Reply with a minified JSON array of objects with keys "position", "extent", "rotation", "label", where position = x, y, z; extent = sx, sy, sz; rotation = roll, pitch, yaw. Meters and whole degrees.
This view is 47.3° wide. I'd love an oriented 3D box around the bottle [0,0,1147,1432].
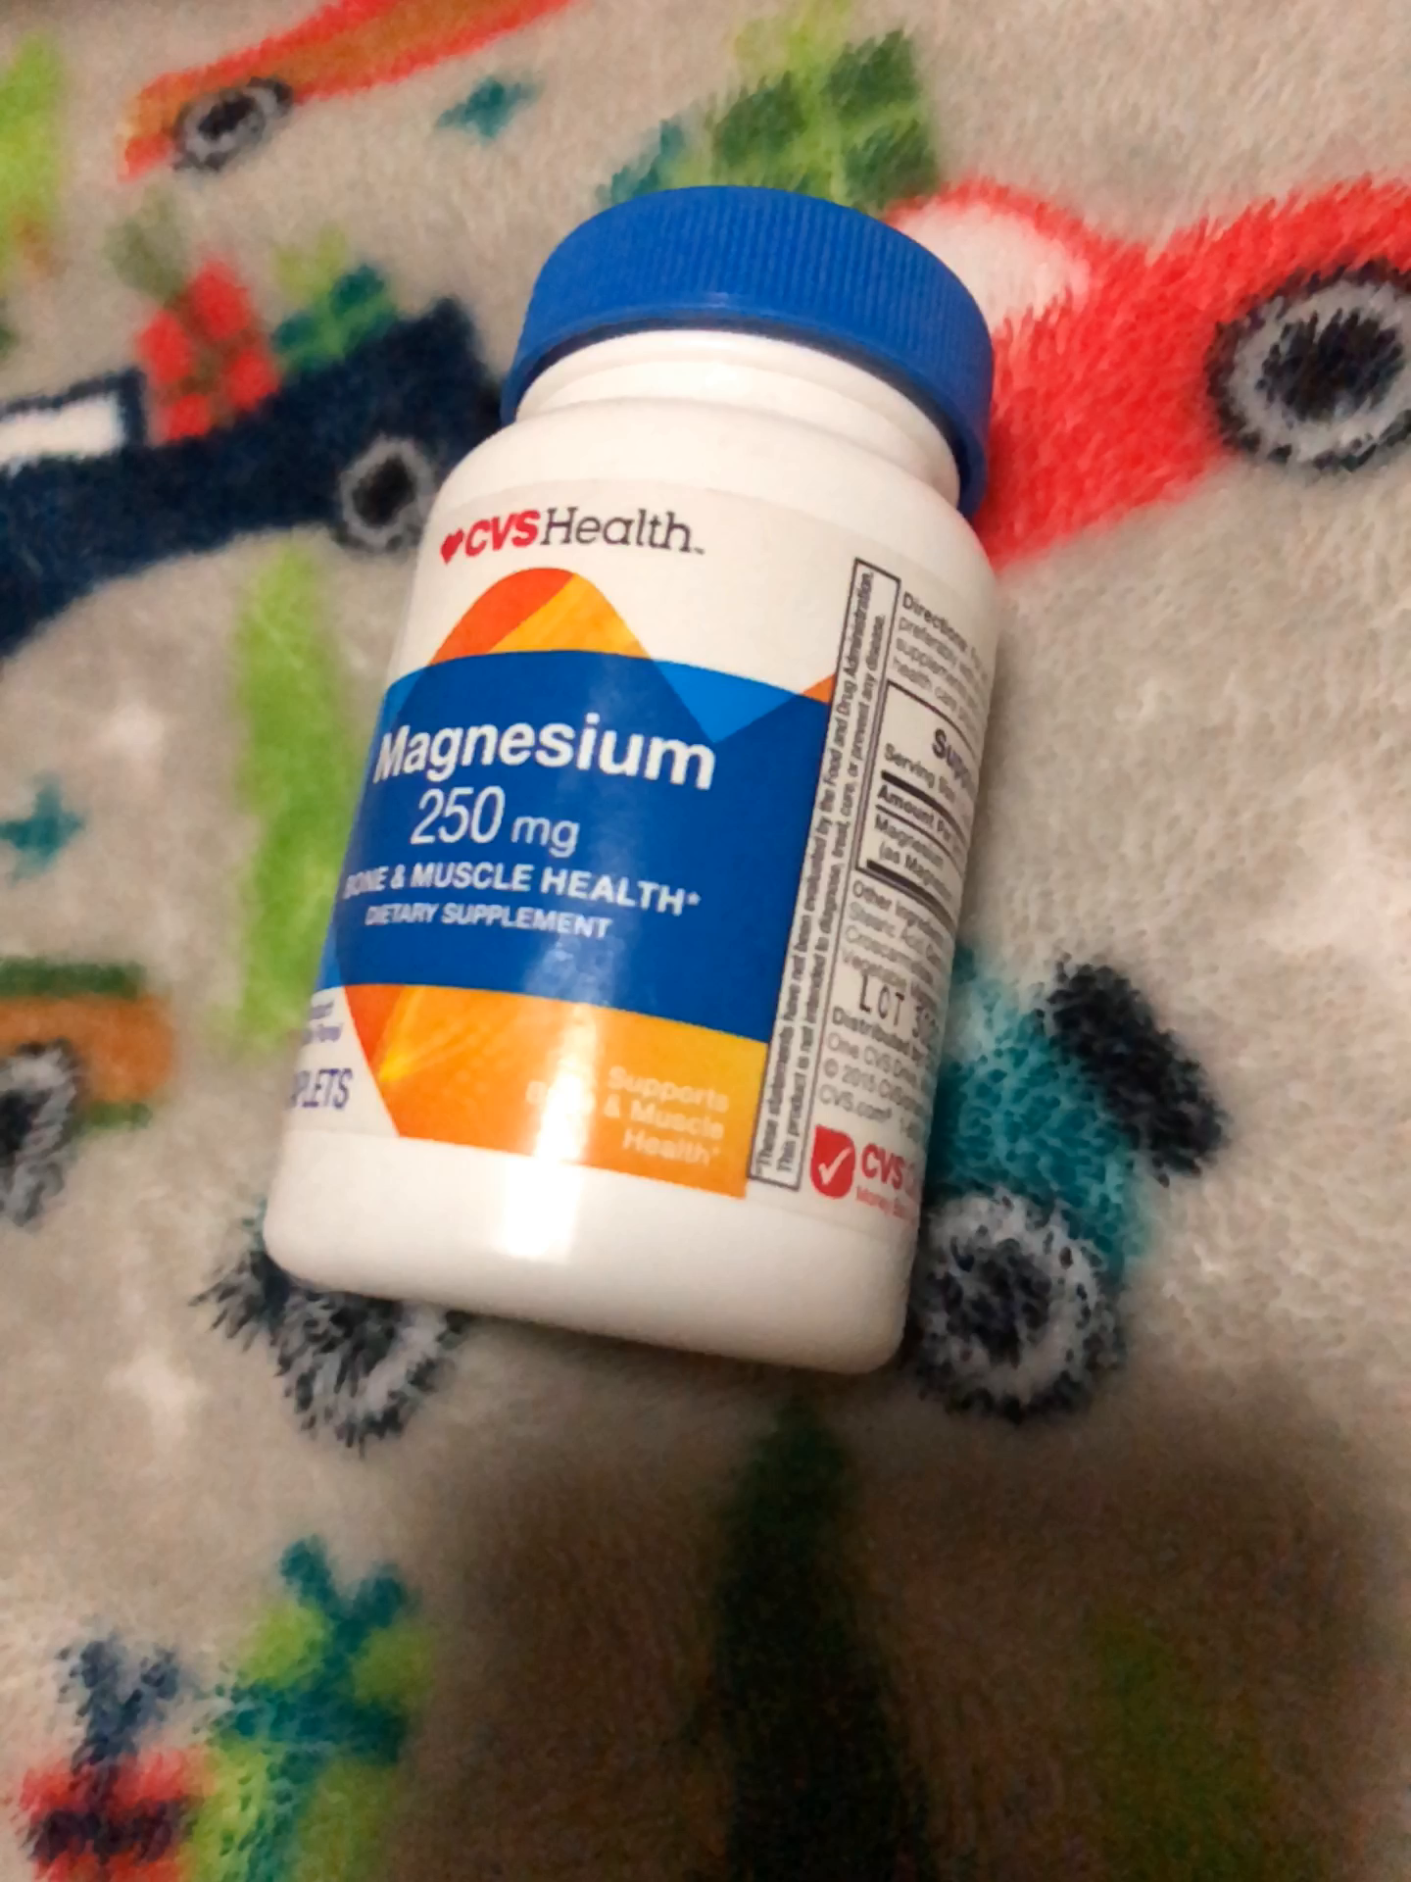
[{"position":[-0.006,-0.018,0.130],"extent":[0.060,0.050,0.100],"rotation":[1,74,32],"label":"bottle"}]
